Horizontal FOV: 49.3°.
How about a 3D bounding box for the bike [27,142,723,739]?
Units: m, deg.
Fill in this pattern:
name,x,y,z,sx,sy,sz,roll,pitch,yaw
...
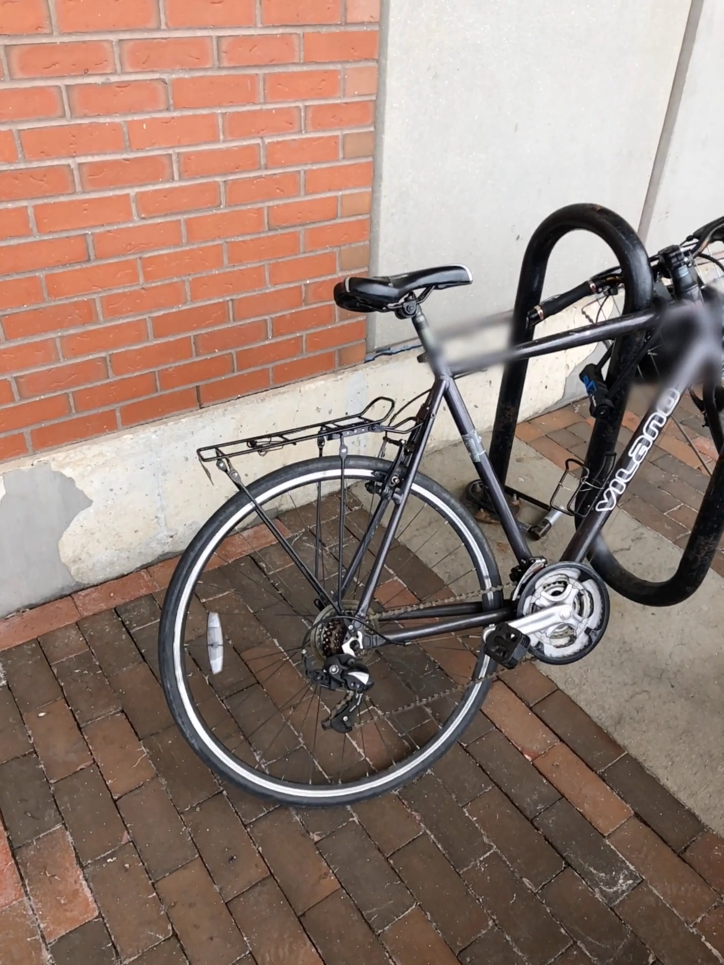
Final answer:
name,x,y,z,sx,sy,sz,roll,pitch,yaw
bike,0.070,-0.259,1.836,1.418,0.734,0.746,-19,41,-29
